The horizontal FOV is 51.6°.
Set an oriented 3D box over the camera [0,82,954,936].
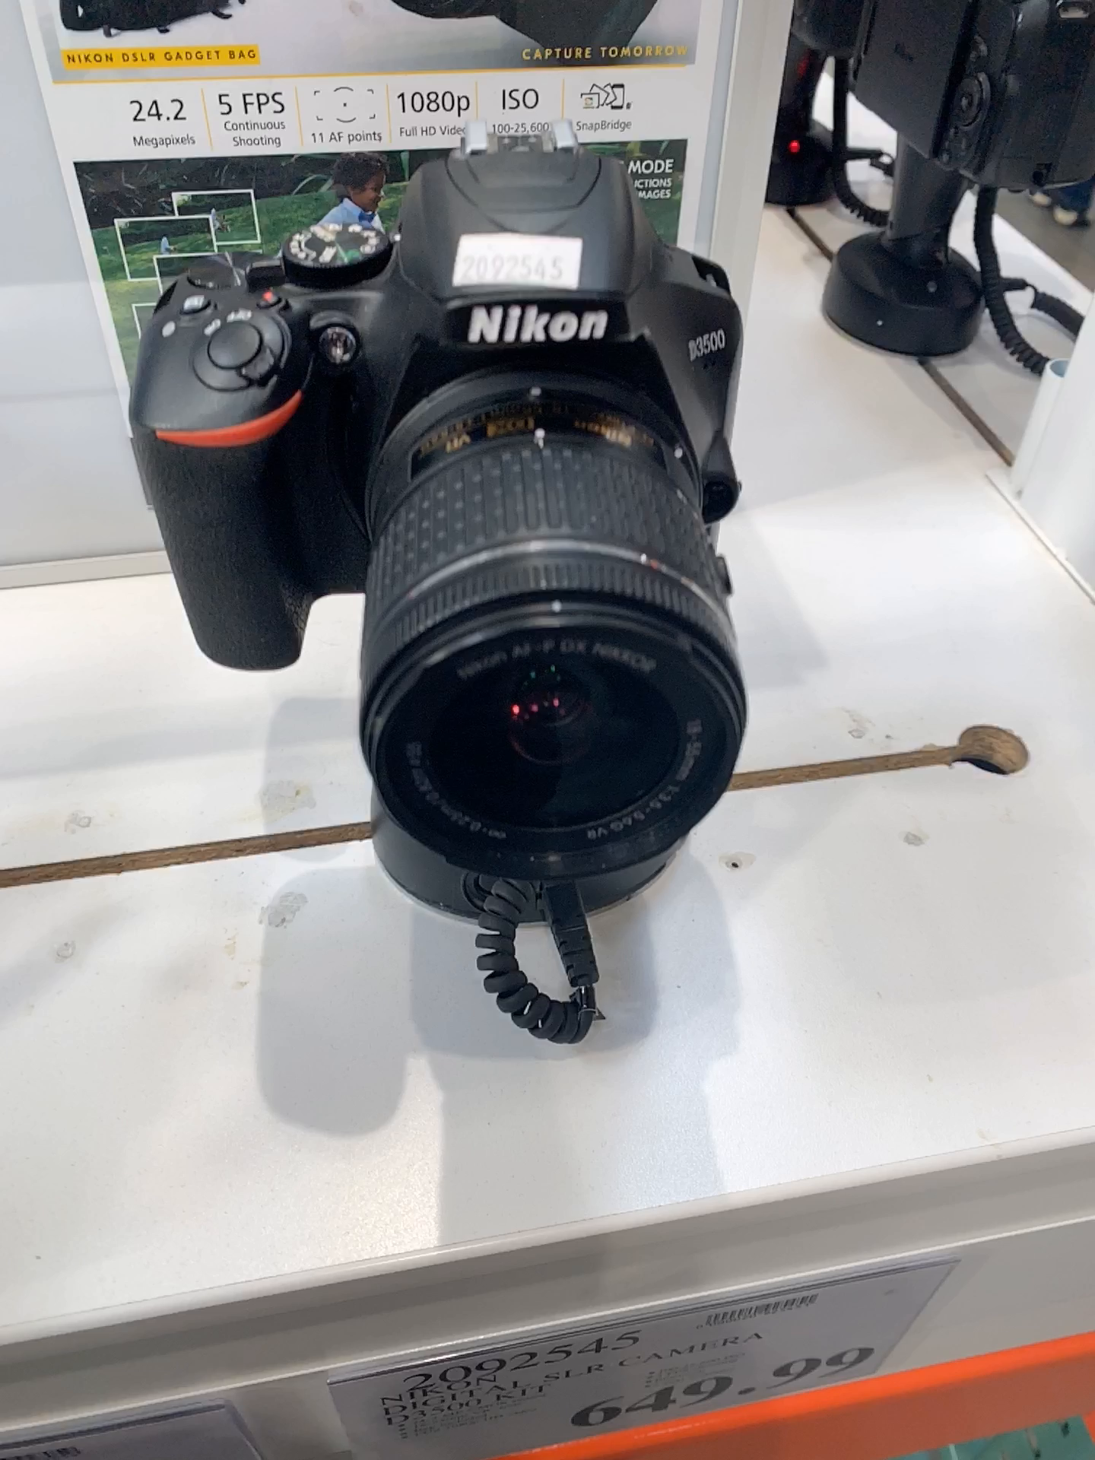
[{"bbox_3d":[-0.015,-0.046,0.211,0.116,0.099,0.121,-5,44,-5],"label":"camera"}]
